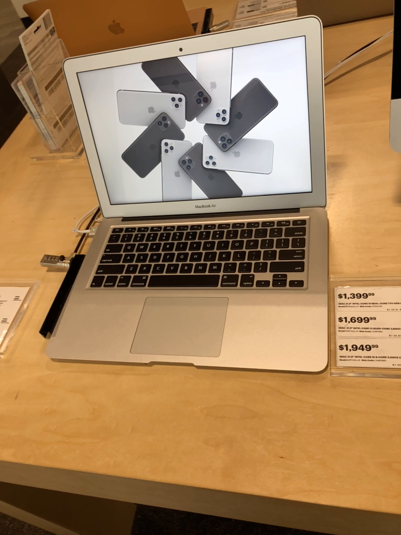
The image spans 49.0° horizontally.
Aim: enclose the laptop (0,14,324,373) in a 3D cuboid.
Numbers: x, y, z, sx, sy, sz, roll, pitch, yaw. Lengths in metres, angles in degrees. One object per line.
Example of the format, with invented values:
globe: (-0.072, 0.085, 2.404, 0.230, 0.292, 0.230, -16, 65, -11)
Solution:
laptop: (-0.038, -0.080, 0.502, 0.324, 0.202, 0.310, -1, 50, 20)
